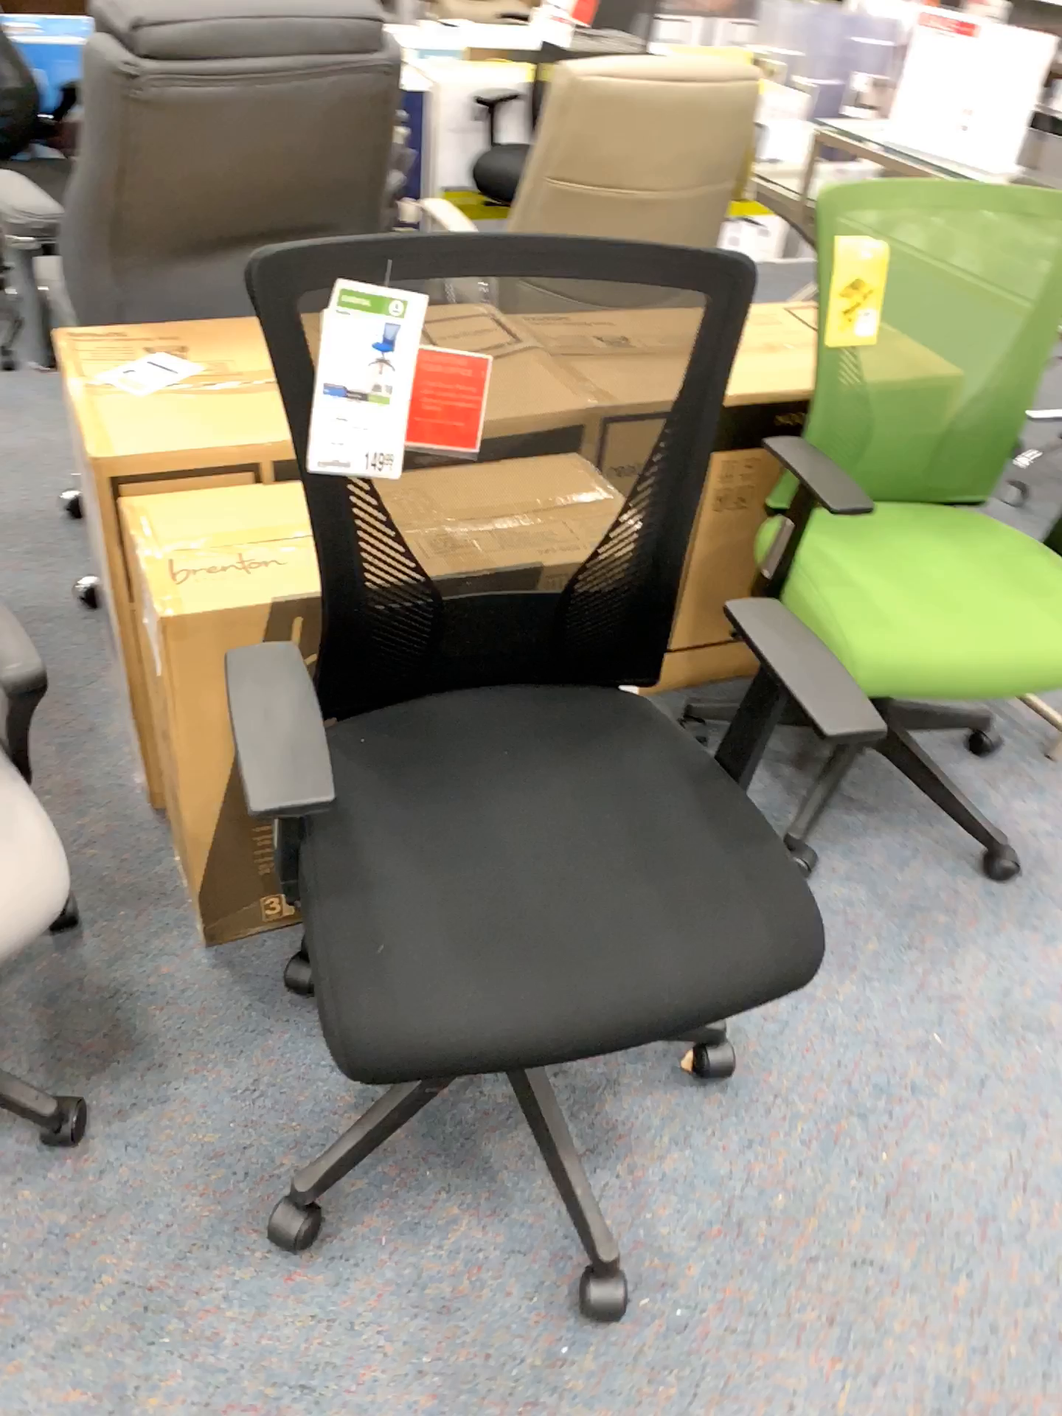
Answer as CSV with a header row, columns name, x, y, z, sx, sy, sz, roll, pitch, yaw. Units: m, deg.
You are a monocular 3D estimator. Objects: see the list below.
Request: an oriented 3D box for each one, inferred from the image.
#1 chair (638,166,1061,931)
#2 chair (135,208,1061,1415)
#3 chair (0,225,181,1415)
name,x,y,z,sx,sy,sz,roll,pitch,yaw
chair,0.684,-0.274,1.747,0.672,0.934,0.711,-7,40,-16
chair,0.020,0.097,1.124,0.682,0.974,0.681,-7,40,-16
chair,-0.843,0.071,1.133,0.622,0.875,0.680,-19,45,-29
